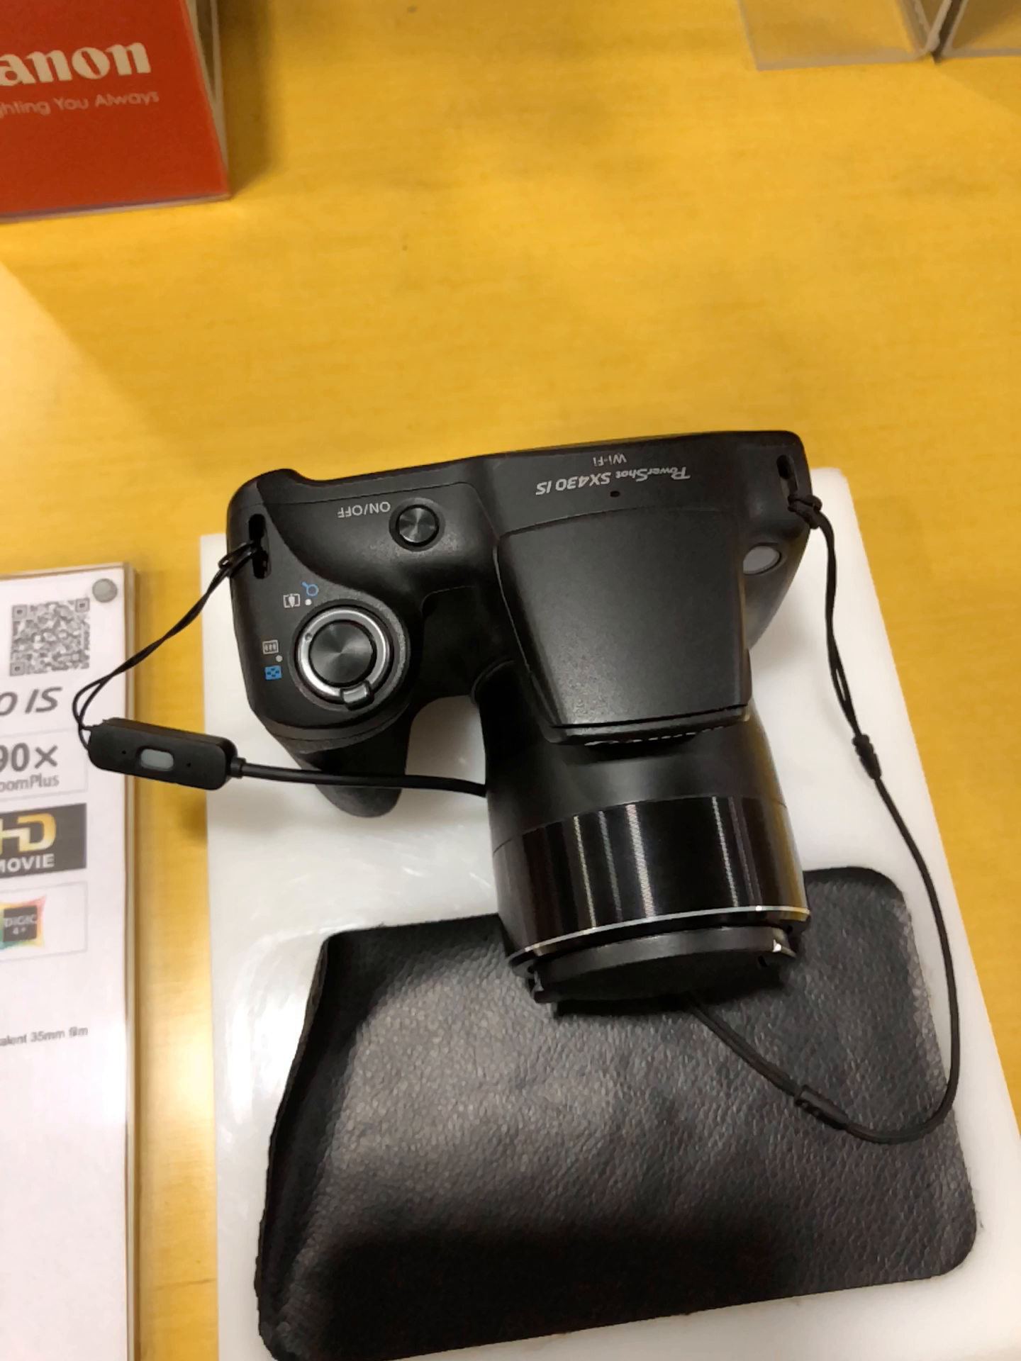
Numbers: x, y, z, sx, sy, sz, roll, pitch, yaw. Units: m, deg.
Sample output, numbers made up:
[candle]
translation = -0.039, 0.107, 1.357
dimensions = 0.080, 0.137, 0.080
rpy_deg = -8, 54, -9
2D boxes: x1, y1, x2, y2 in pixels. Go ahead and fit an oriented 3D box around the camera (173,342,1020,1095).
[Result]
[camera]
translation = 0.011, 0.013, 0.195
dimensions = 0.110, 0.090, 0.090
rpy_deg = -7, 68, -4
